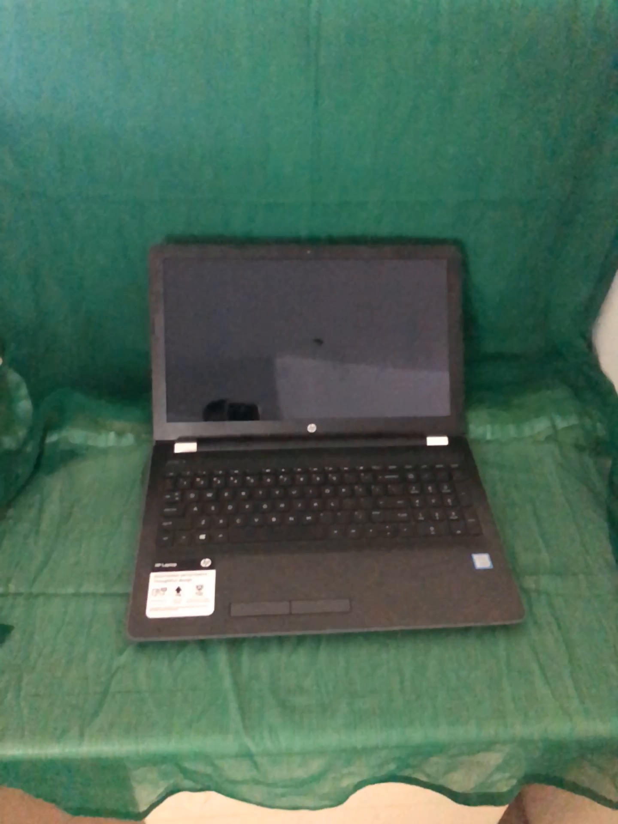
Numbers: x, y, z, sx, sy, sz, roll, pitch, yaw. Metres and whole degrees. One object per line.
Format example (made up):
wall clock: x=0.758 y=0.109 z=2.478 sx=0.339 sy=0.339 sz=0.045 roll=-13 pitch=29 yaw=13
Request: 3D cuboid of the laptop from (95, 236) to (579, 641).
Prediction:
laptop: x=0.012 y=-0.003 z=0.741 sx=0.378 sy=0.178 sz=0.417 roll=-1 pitch=43 yaw=-4
